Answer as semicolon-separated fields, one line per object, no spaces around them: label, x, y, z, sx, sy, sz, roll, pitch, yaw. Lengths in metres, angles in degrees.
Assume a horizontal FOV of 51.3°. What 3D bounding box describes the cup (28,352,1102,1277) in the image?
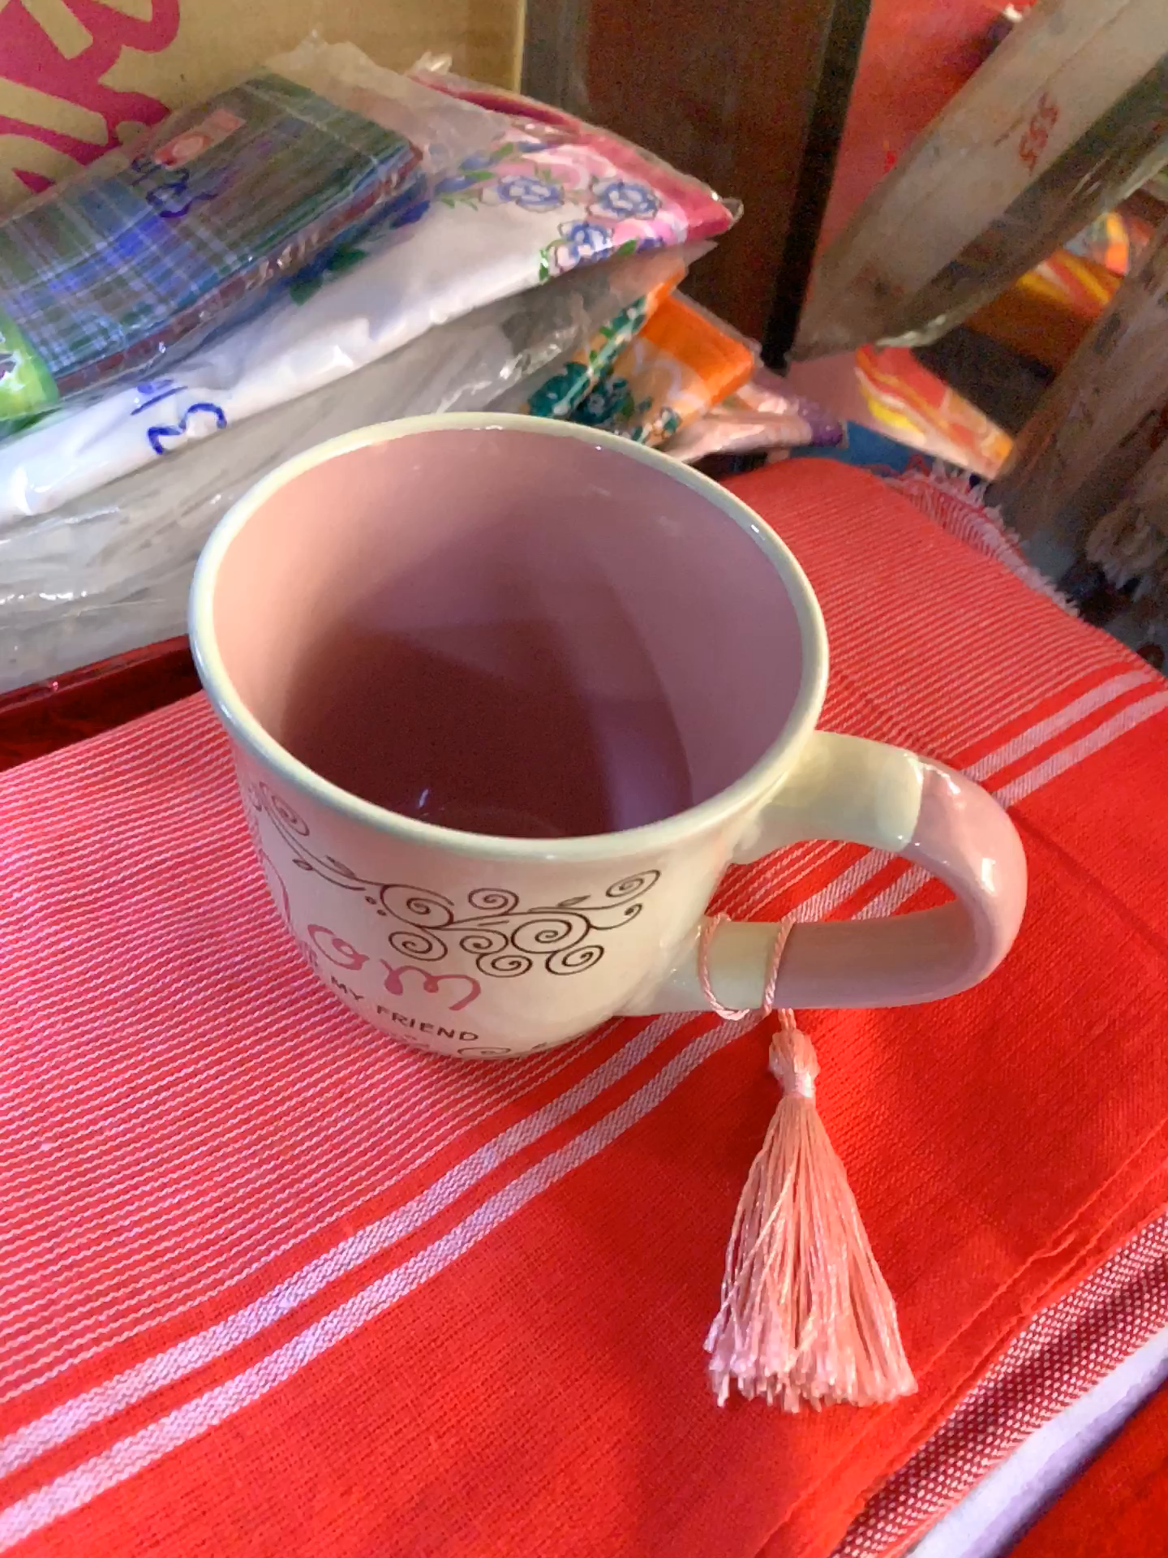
cup;0.004;0.002;0.202;0.130;0.080;0.094;15;49;8
